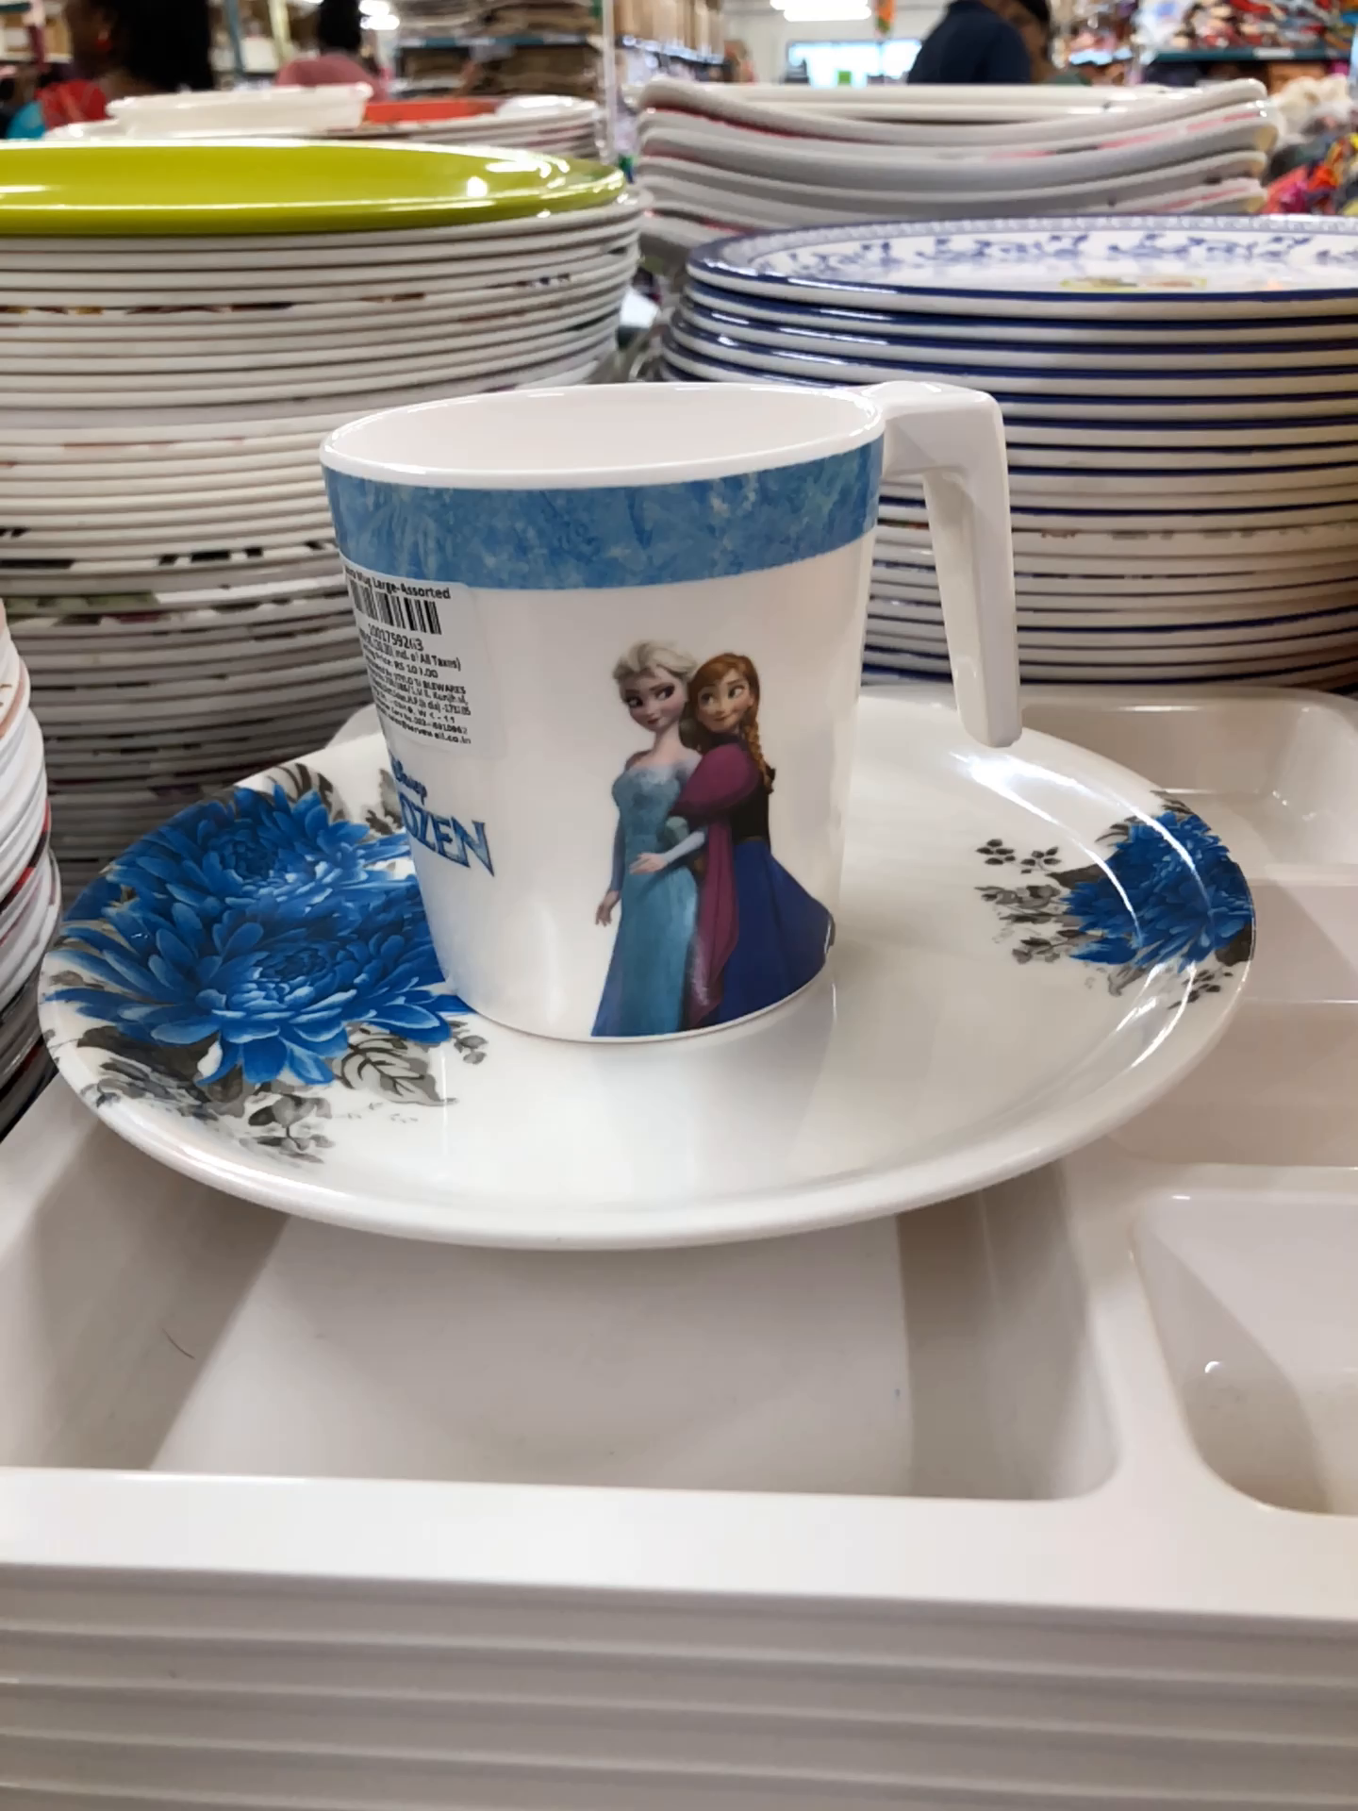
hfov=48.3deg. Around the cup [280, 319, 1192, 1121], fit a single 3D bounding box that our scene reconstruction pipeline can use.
[{"bbox_3d":[0.002,-0.036,0.234,0.110,0.089,0.080,-8,28,-13],"label":"cup"}]
